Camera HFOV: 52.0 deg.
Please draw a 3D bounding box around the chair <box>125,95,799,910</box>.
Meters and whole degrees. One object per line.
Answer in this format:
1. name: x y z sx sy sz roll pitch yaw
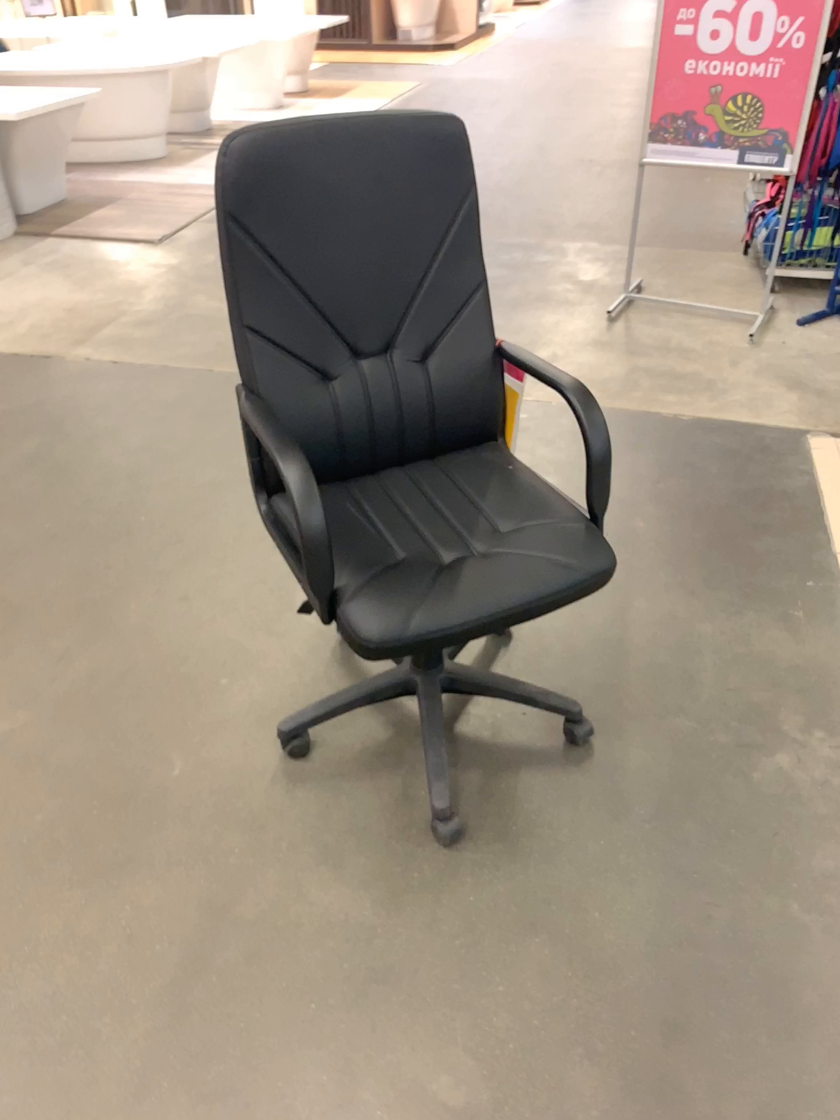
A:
1. chair: -0.006 -0.151 1.554 0.670 1.085 0.814 -16 38 -20
